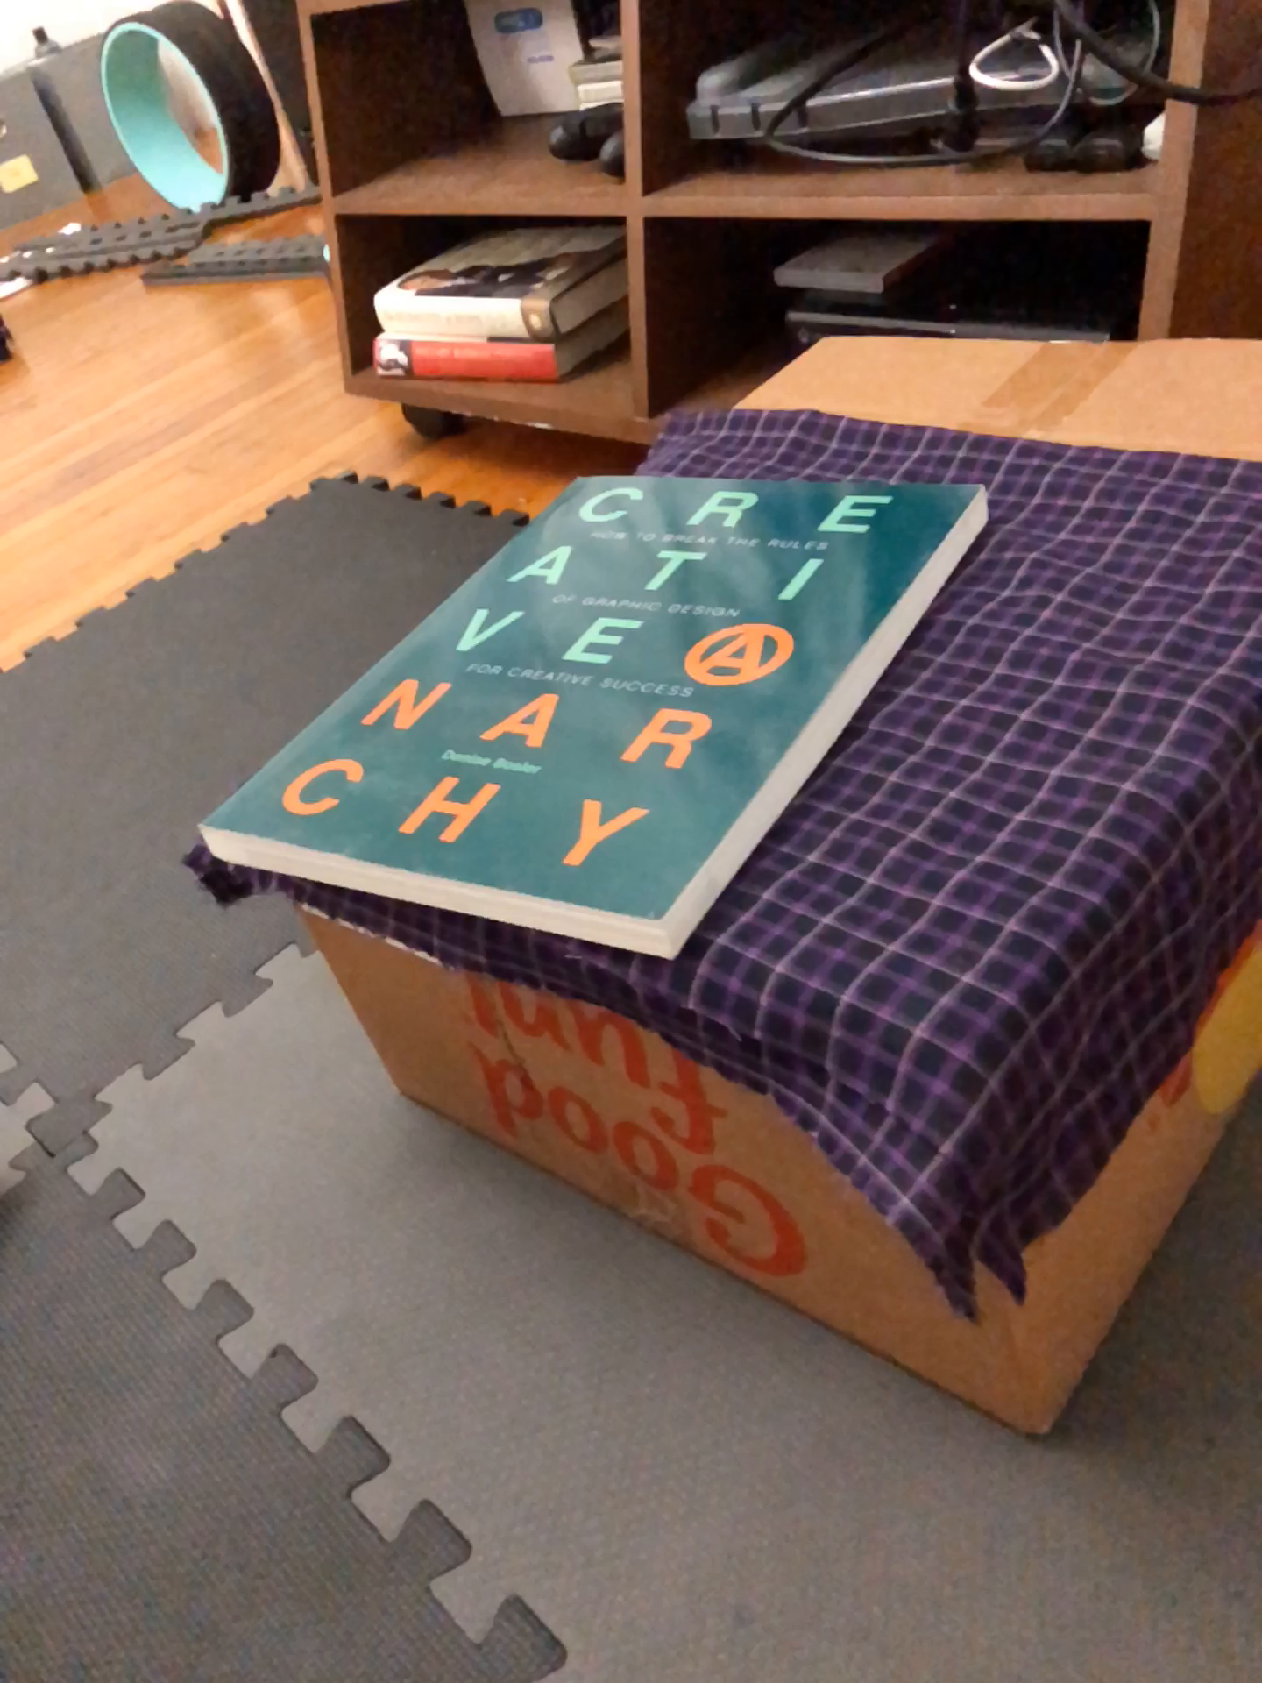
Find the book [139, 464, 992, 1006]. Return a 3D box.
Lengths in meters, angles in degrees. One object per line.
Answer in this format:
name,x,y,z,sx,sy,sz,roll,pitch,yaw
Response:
book,-0.015,-0.070,0.553,0.220,0.020,0.301,10,45,32
